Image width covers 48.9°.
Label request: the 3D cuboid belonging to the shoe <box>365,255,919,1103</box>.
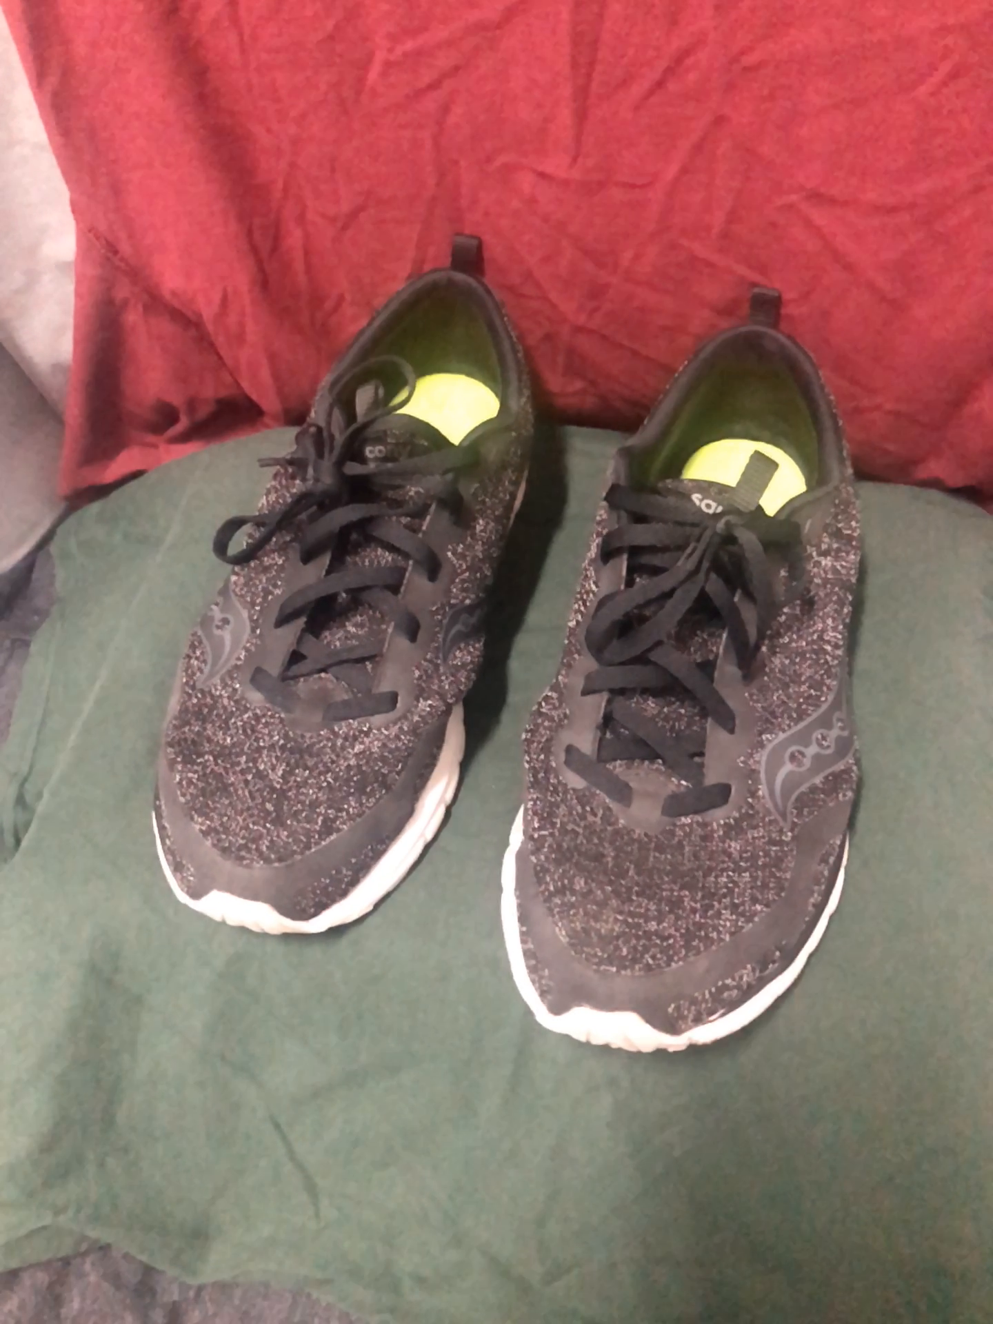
[{"bbox_3d":[0.063,-0.013,0.369,0.120,0.099,0.262,10,55,12],"label":"shoe"}]

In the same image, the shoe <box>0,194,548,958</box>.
[{"bbox_3d":[-0.069,-0.049,0.405,0.120,0.099,0.272,9,55,11],"label":"shoe"}]
